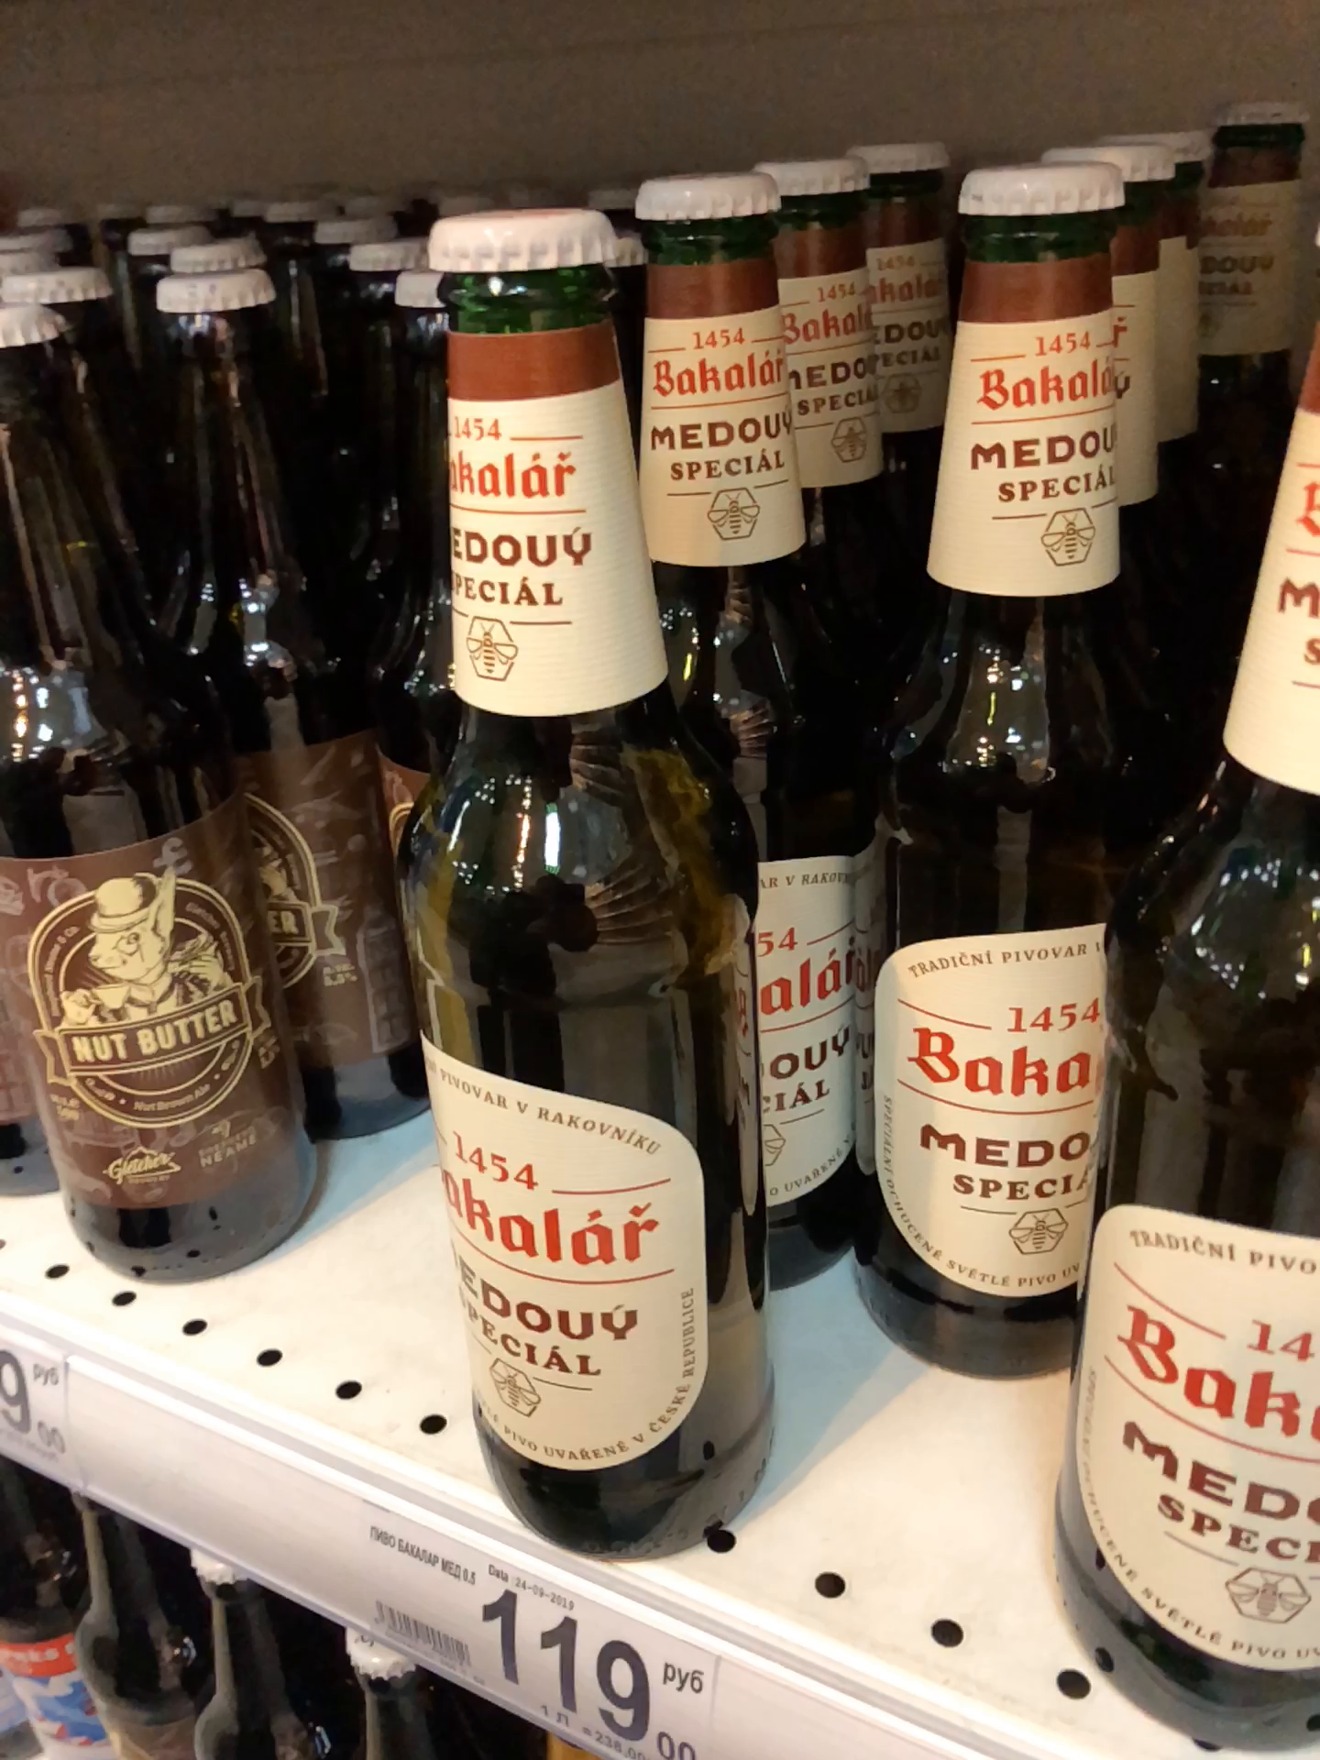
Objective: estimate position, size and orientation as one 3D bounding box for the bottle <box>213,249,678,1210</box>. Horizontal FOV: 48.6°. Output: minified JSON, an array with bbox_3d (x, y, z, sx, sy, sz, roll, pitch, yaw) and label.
[{"bbox_3d":[-0.046,-0.034,0.377,0.069,0.231,0.061,12,31,27],"label":"bottle"}]

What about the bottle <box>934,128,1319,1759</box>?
[{"bbox_3d":[0.089,0.027,0.225,0.065,0.249,0.061,-3,27,1],"label":"bottle"}]

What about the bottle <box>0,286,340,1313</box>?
[{"bbox_3d":[-0.132,-0.013,0.352,0.069,0.233,0.061,-10,28,-12],"label":"bottle"}]

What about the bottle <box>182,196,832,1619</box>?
[{"bbox_3d":[-0.015,0.013,0.273,0.070,0.249,0.066,-3,27,1],"label":"bottle"}]
